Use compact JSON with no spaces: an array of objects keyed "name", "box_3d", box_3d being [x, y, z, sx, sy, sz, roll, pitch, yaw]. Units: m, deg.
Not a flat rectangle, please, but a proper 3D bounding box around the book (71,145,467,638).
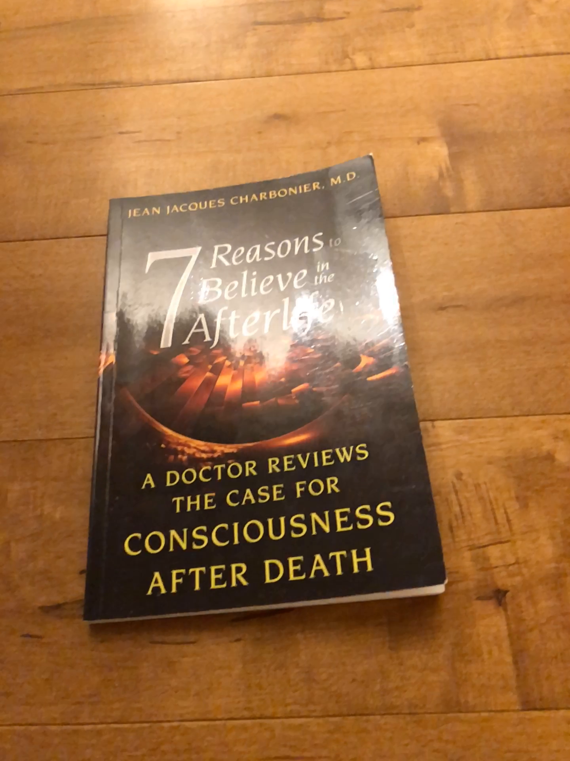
[{"name":"book","box_3d":[-0.015,-0.006,0.333,0.170,0.030,0.251,-8,64,8]}]
